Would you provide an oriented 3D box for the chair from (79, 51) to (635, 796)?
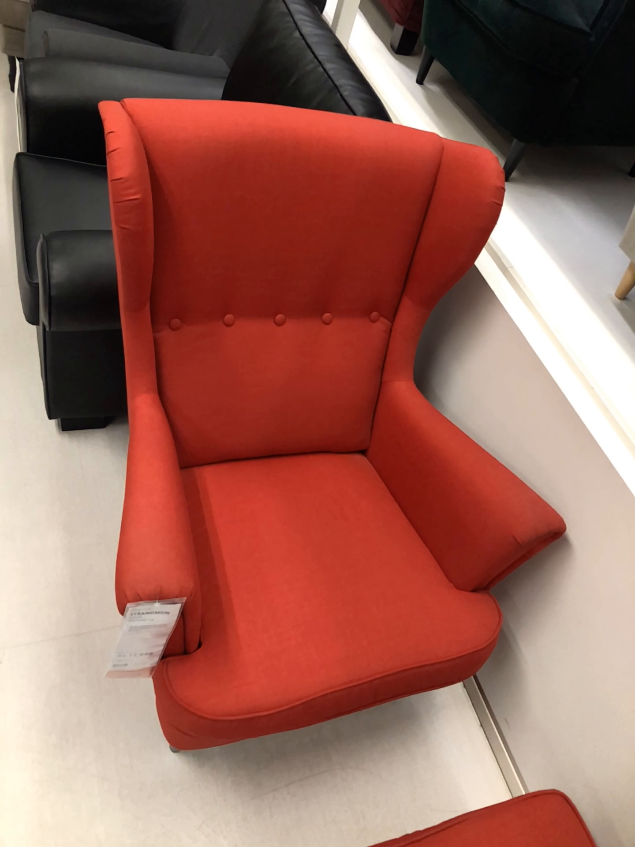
[{"bbox_3d":[0.061,0.024,1.366,0.902,0.974,0.843,-5,52,-24],"label":"chair"}]
